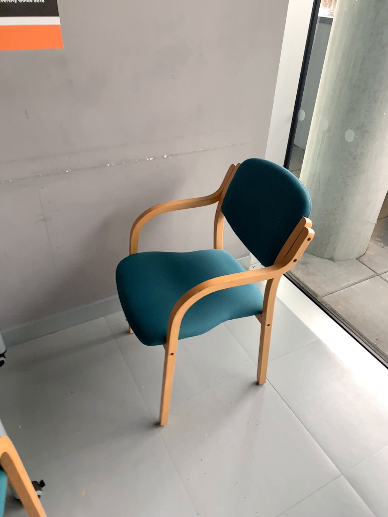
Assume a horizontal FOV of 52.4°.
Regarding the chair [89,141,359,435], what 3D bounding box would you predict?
[{"bbox_3d":[0.037,0.051,1.507,0.641,0.723,0.686,-13,39,-22],"label":"chair"}]
